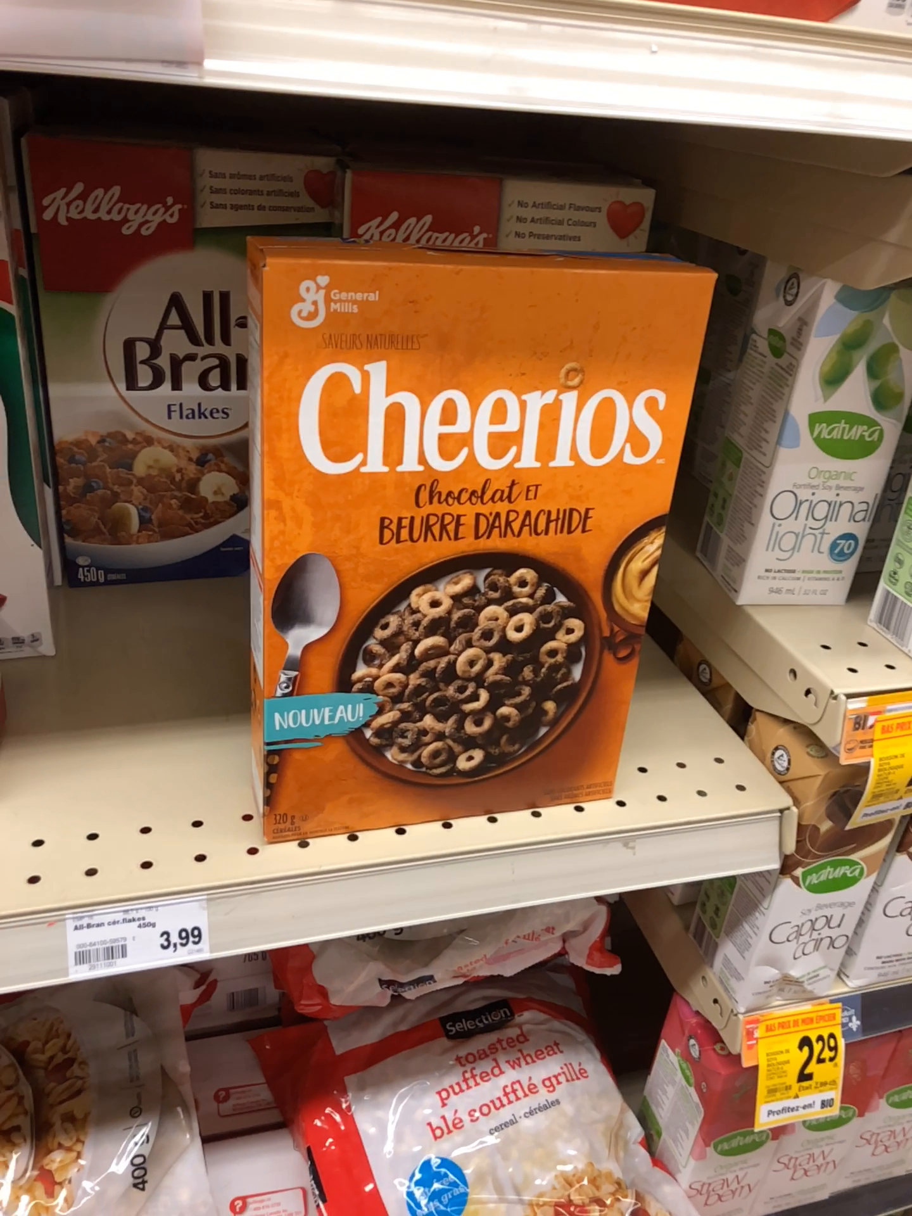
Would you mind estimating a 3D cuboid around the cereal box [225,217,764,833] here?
[{"bbox_3d":[0.006,-0.029,0.463,0.210,0.268,0.050,-4,30,-17],"label":"cereal box"}]
